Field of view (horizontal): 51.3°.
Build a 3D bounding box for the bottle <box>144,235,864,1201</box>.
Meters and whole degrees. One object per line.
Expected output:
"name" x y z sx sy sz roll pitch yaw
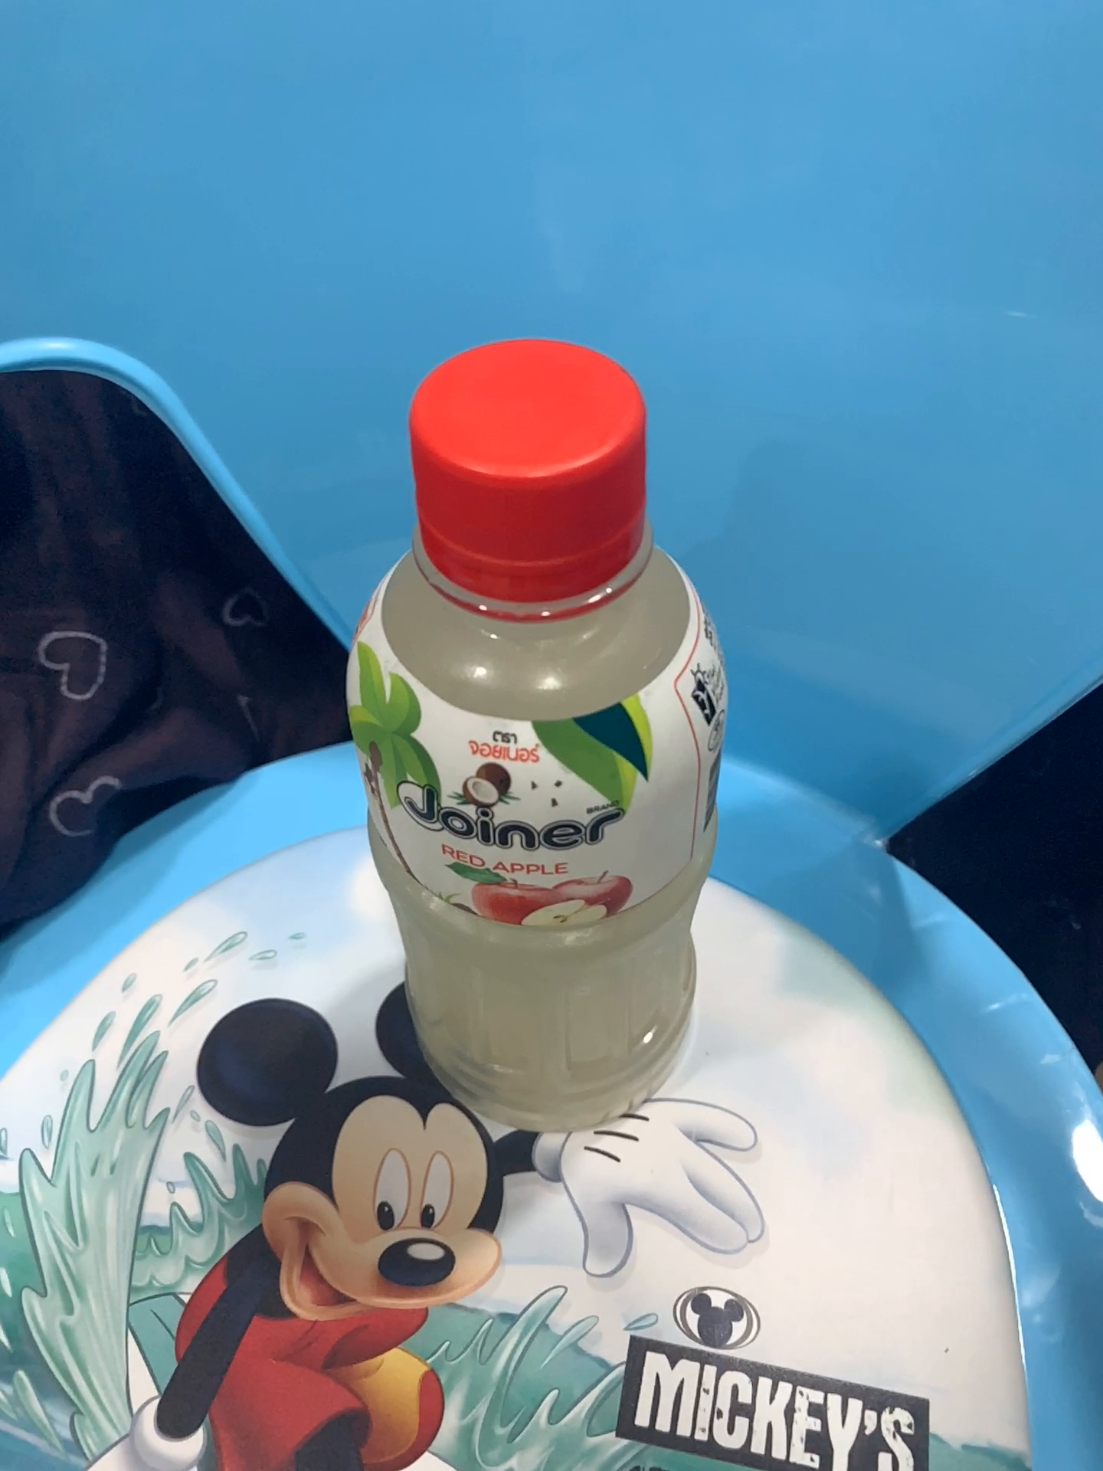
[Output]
"bottle" 0.001 0.009 0.188 0.070 0.149 0.060 10 47 11
